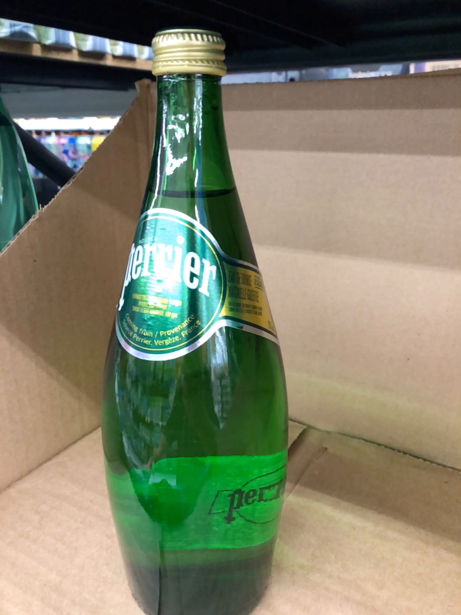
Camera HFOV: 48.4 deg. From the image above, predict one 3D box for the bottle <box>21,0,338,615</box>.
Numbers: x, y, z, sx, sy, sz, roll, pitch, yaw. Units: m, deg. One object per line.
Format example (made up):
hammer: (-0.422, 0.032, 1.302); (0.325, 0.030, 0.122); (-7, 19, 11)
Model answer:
bottle: (-0.016, 0.017, 0.237); (0.090, 0.268, 0.080); (11, 21, 30)

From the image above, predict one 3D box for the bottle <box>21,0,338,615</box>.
bottle: (-0.016, 0.017, 0.237); (0.090, 0.268, 0.080); (11, 21, 30)
